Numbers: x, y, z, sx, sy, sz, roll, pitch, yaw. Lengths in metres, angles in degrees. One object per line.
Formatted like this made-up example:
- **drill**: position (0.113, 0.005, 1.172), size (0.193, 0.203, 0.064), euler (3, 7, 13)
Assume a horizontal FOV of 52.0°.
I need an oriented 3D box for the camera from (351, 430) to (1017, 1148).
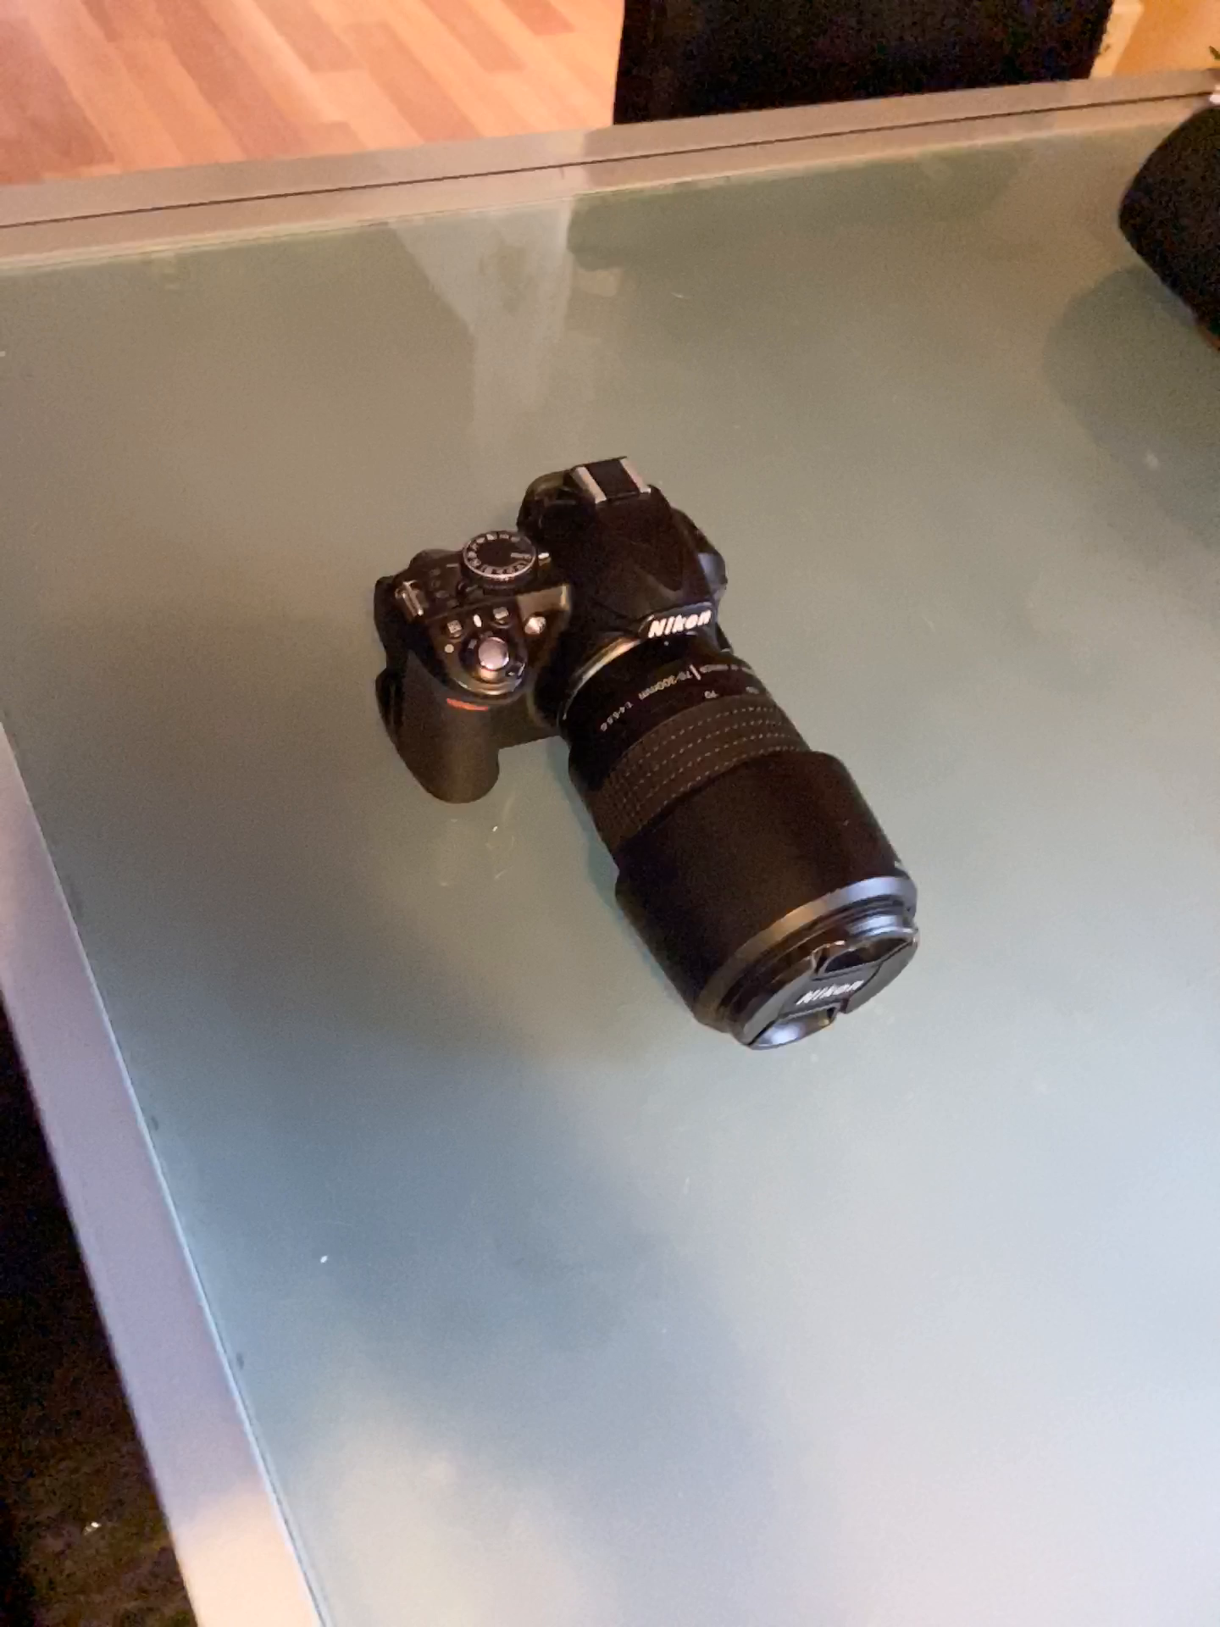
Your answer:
- **camera**: position (0.010, -0.016, 0.407), size (0.124, 0.094, 0.189), euler (-18, 62, -23)
